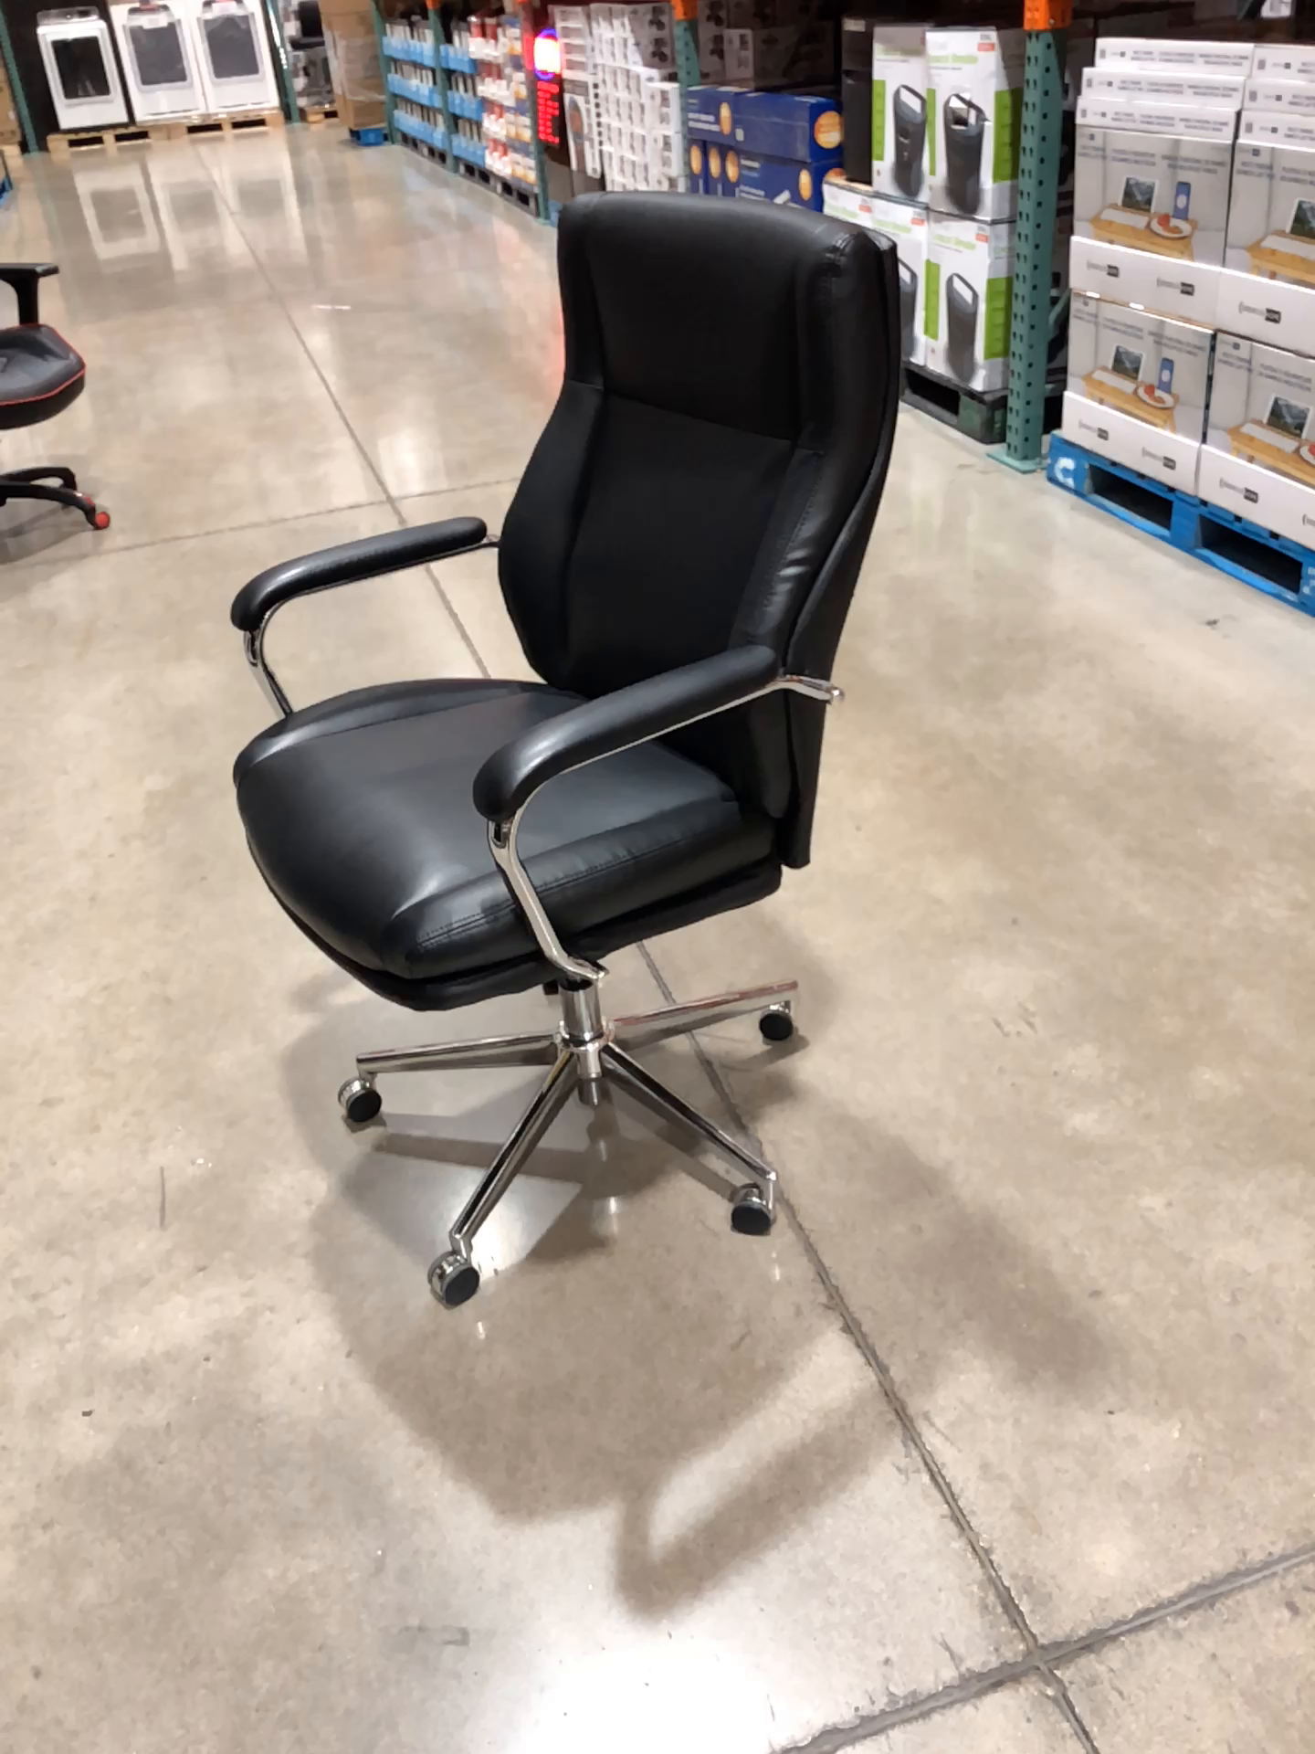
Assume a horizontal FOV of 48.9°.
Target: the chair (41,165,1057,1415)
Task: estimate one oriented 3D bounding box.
[{"bbox_3d":[-0.104,-0.154,1.626,0.700,1.045,0.713,-21,36,-24],"label":"chair"}]
